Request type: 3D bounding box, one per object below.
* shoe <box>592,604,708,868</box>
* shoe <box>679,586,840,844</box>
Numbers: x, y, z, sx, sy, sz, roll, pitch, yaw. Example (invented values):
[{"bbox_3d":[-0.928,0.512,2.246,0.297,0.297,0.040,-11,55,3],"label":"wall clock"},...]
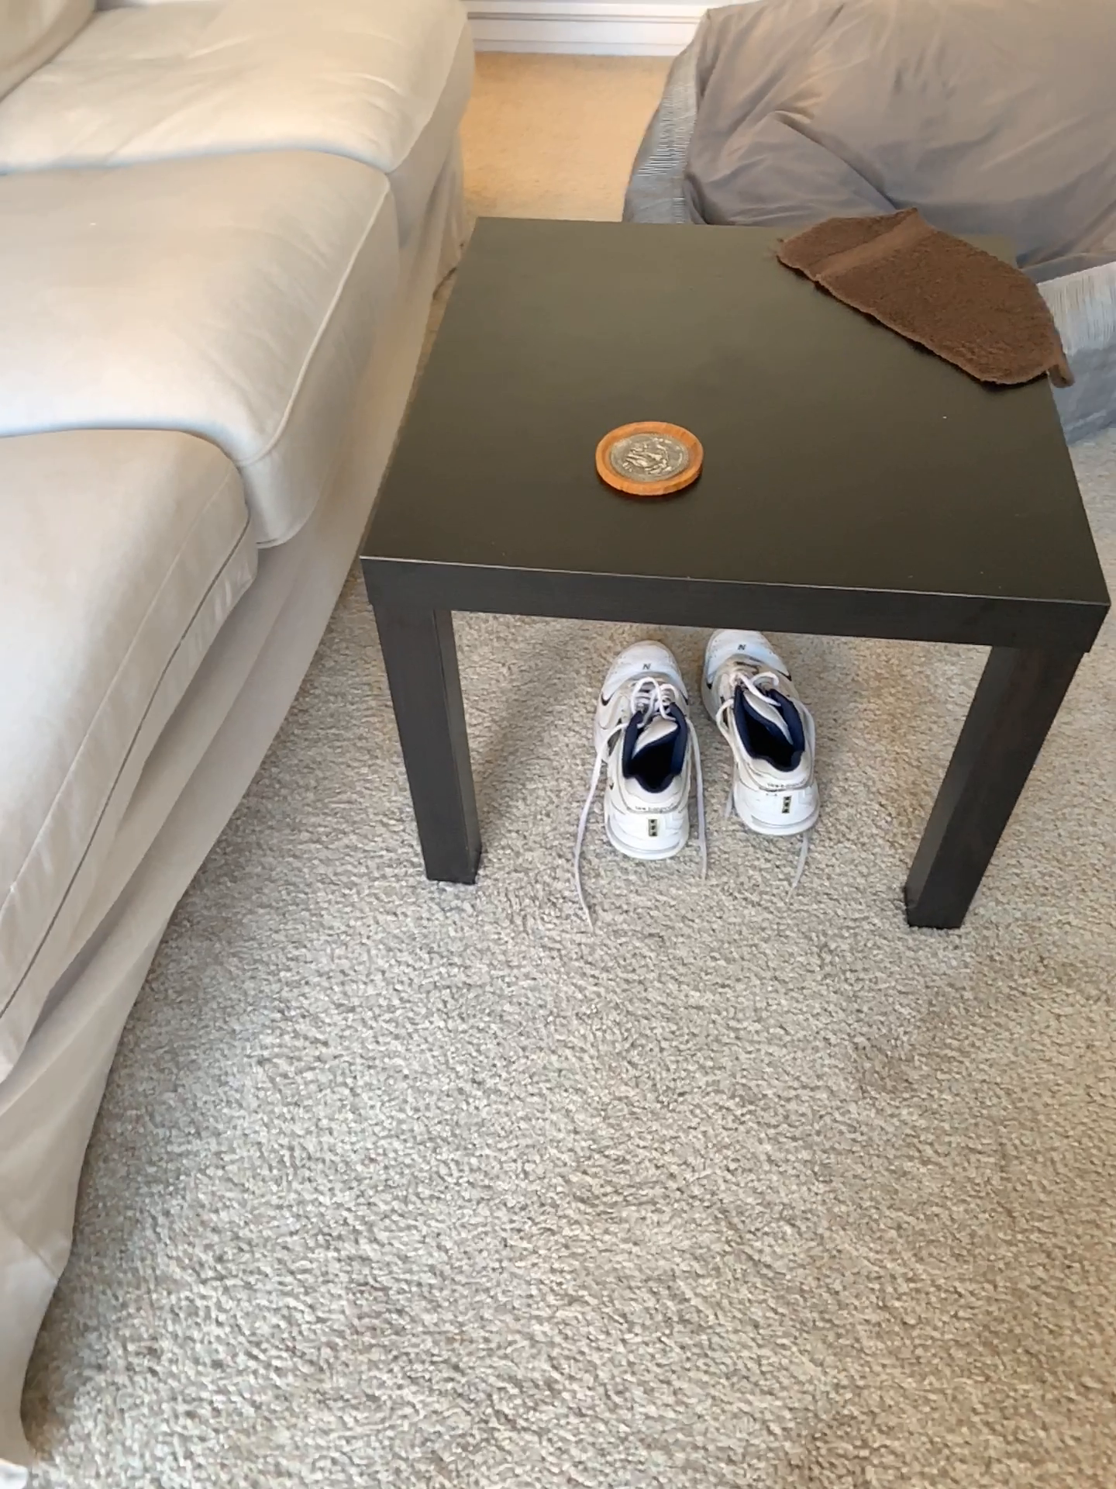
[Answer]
[{"bbox_3d":[0.093,-0.016,1.237,0.110,0.100,0.291,0,50,1],"label":"shoe"},{"bbox_3d":[0.219,-0.040,1.289,0.110,0.100,0.291,-5,50,-3],"label":"shoe"}]
